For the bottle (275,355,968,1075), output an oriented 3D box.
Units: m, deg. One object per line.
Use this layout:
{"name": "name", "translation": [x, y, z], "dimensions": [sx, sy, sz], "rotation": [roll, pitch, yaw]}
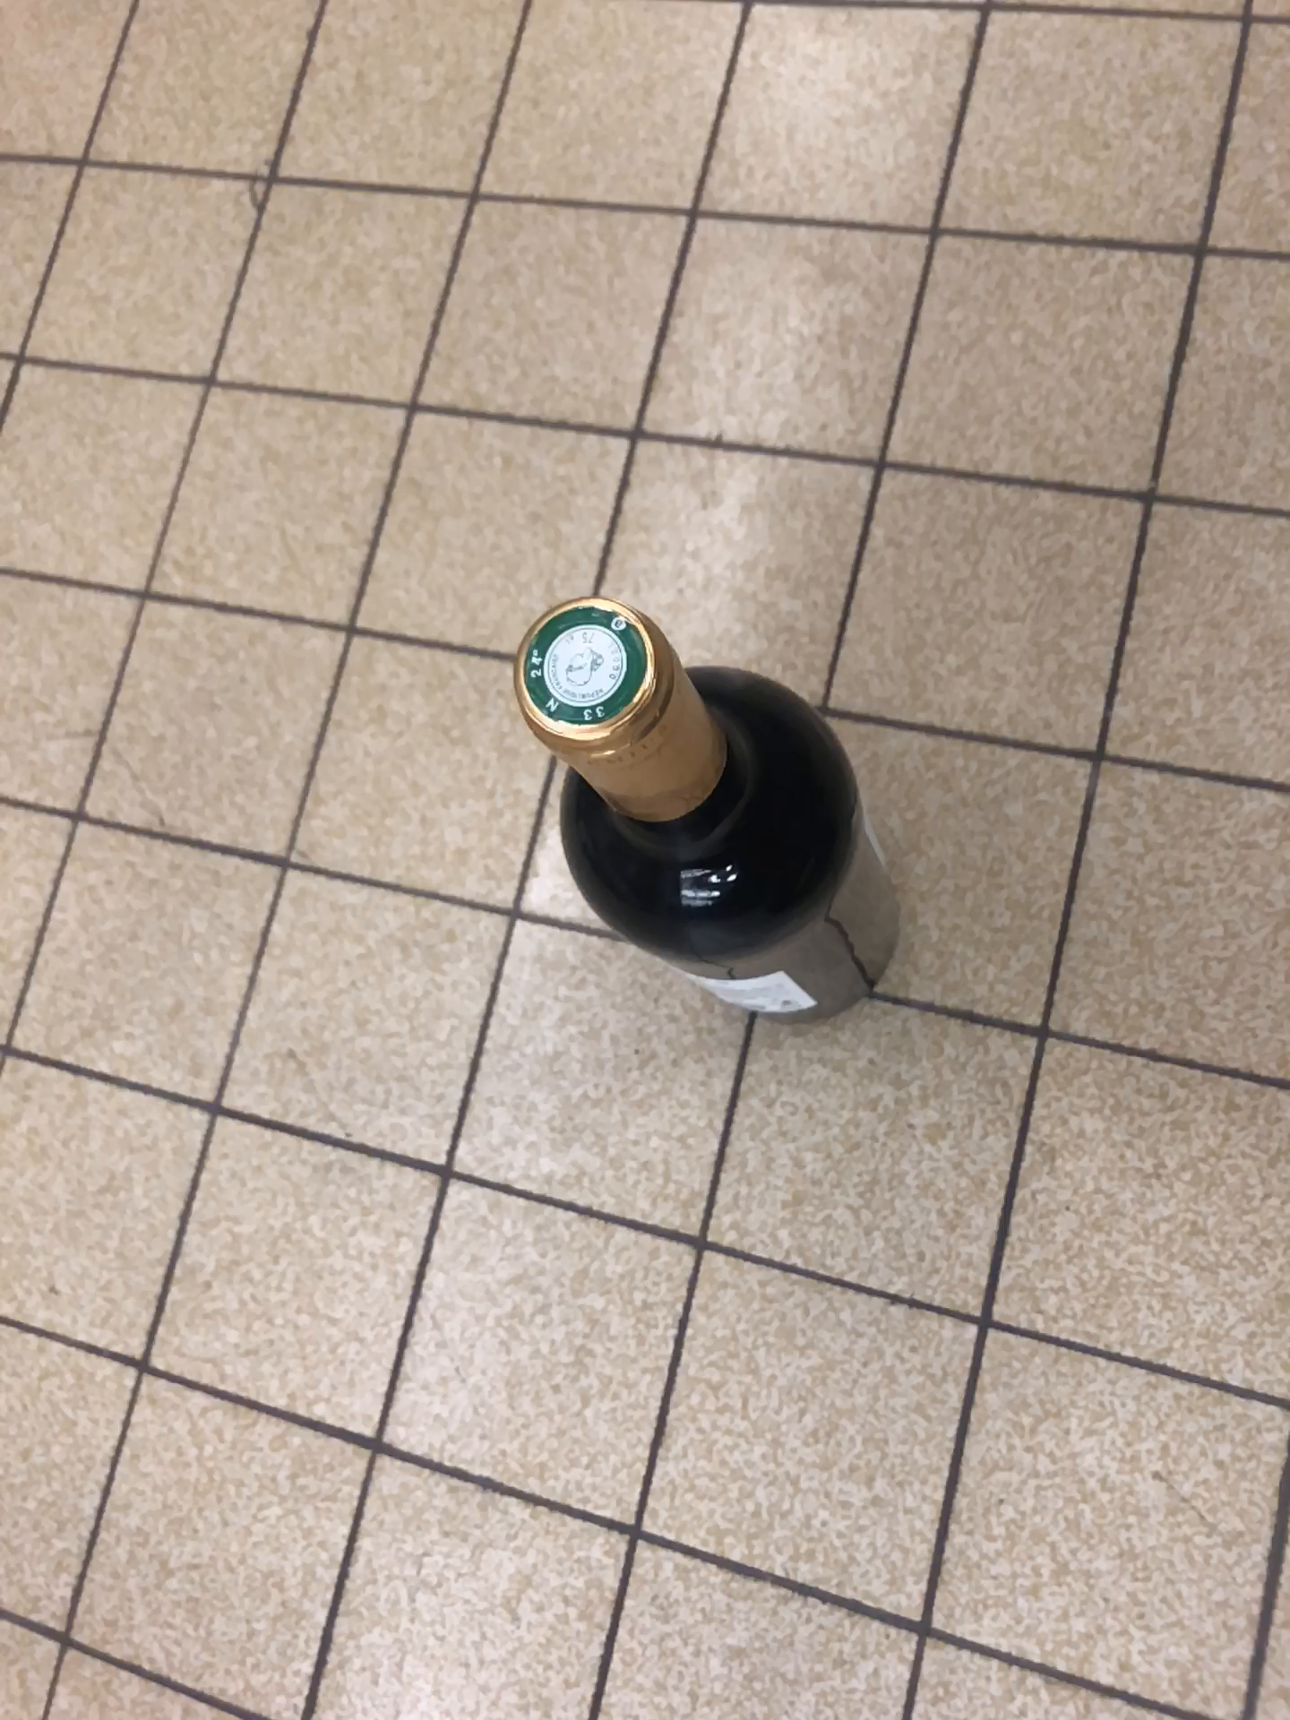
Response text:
{"name": "bottle", "translation": [0.025, -0.008, 0.381], "dimensions": [0.090, 0.290, 0.080], "rotation": [27, 86, 17]}
